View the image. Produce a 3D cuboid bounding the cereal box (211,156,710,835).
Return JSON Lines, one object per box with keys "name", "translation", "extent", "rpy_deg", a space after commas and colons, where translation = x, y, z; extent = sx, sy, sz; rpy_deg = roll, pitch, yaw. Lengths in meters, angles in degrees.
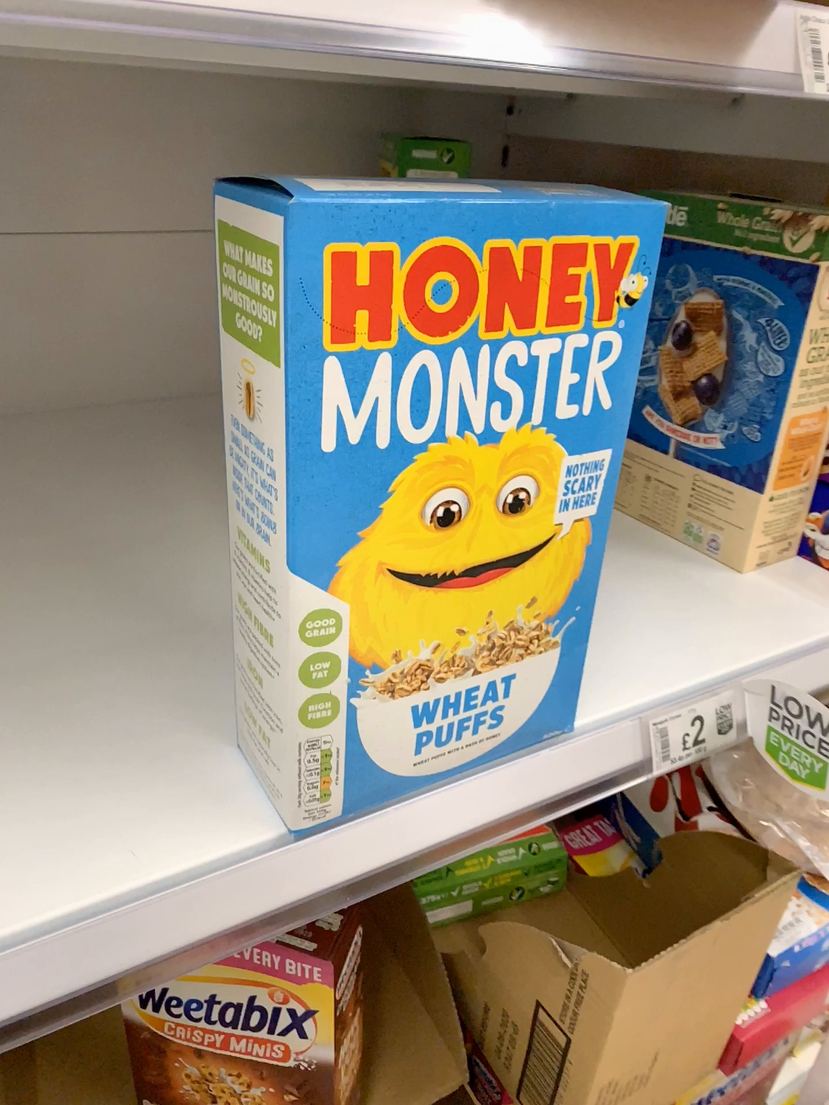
{"name": "cereal box", "translation": [0.015, -0.032, 0.435], "extent": [0.201, 0.297, 0.091], "rpy_deg": [-12, 31, -29]}
